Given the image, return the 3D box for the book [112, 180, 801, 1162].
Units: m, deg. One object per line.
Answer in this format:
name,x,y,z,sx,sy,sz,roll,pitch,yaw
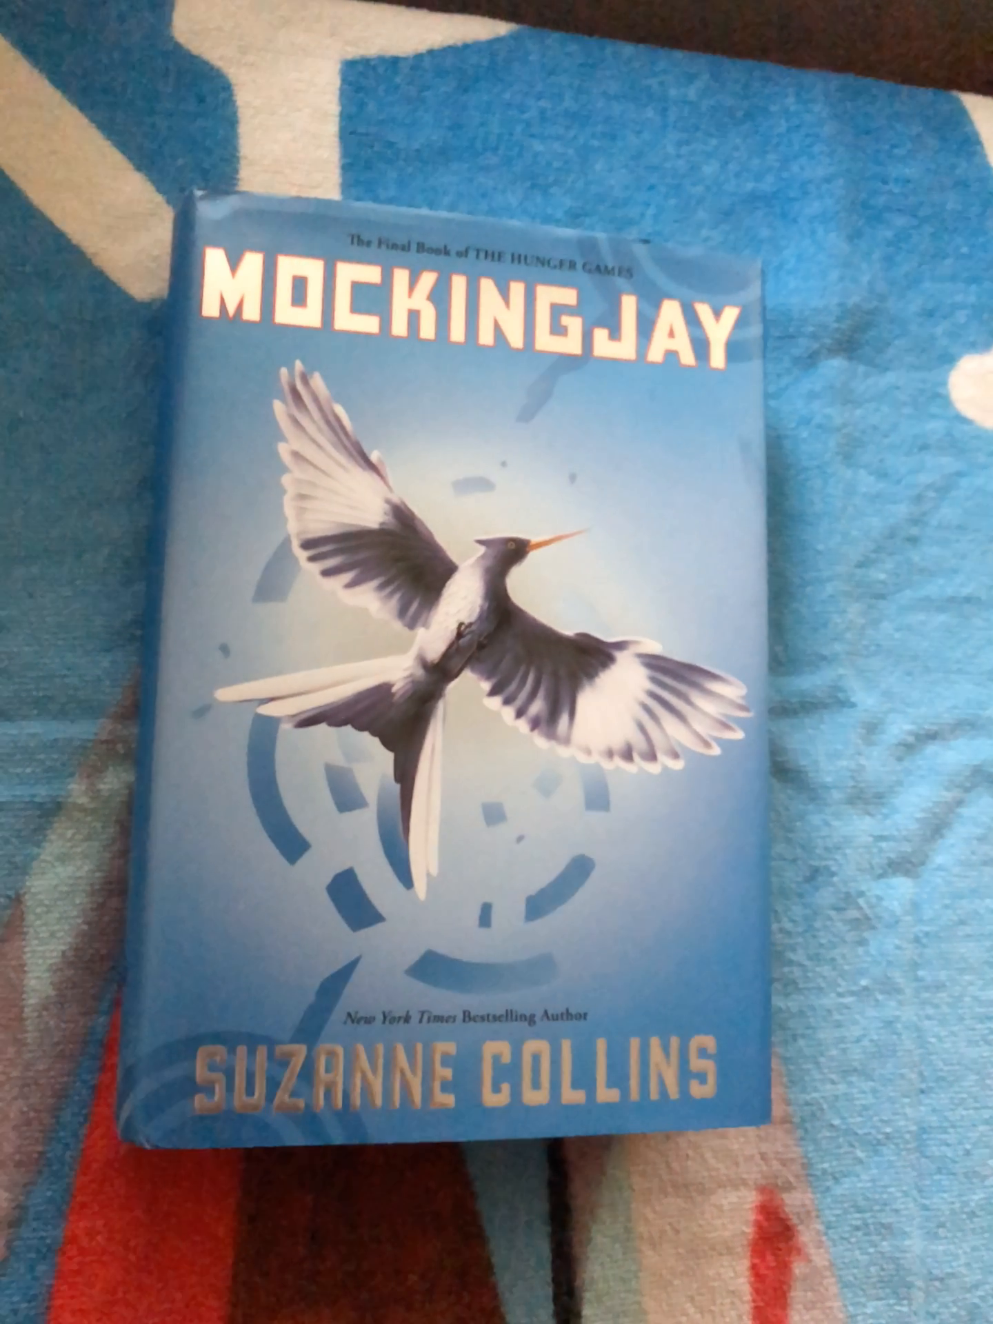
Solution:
book,-0.006,0.001,0.256,0.140,0.040,0.200,3,82,-10
